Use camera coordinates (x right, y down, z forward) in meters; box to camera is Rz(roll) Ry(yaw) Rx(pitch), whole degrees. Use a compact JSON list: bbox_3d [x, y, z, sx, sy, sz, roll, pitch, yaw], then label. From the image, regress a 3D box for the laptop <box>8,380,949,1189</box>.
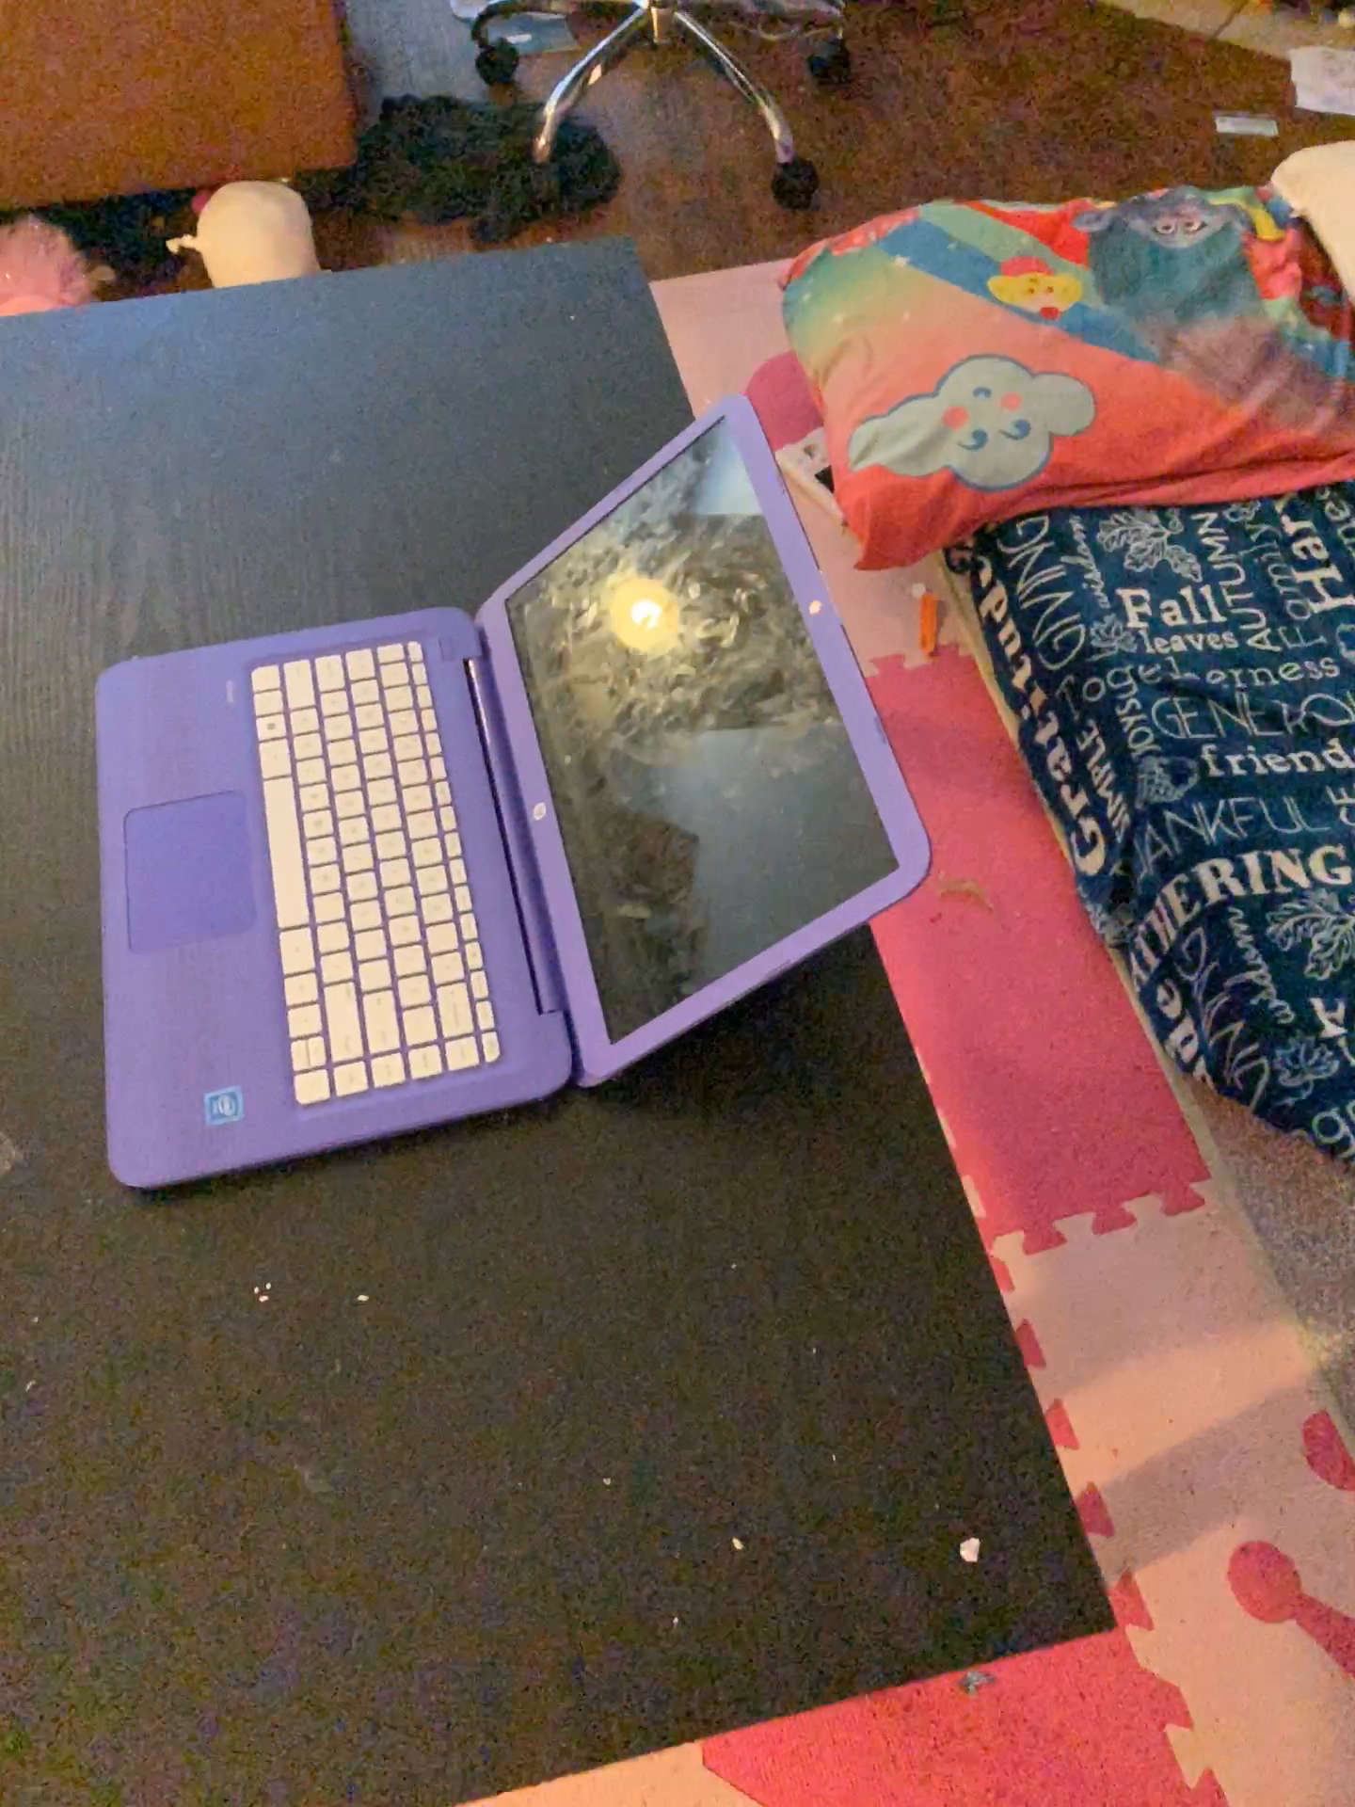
[{"bbox_3d":[-0.114,-0.079,0.723,0.397,0.132,0.341,-12,58,-7],"label":"laptop"}]
